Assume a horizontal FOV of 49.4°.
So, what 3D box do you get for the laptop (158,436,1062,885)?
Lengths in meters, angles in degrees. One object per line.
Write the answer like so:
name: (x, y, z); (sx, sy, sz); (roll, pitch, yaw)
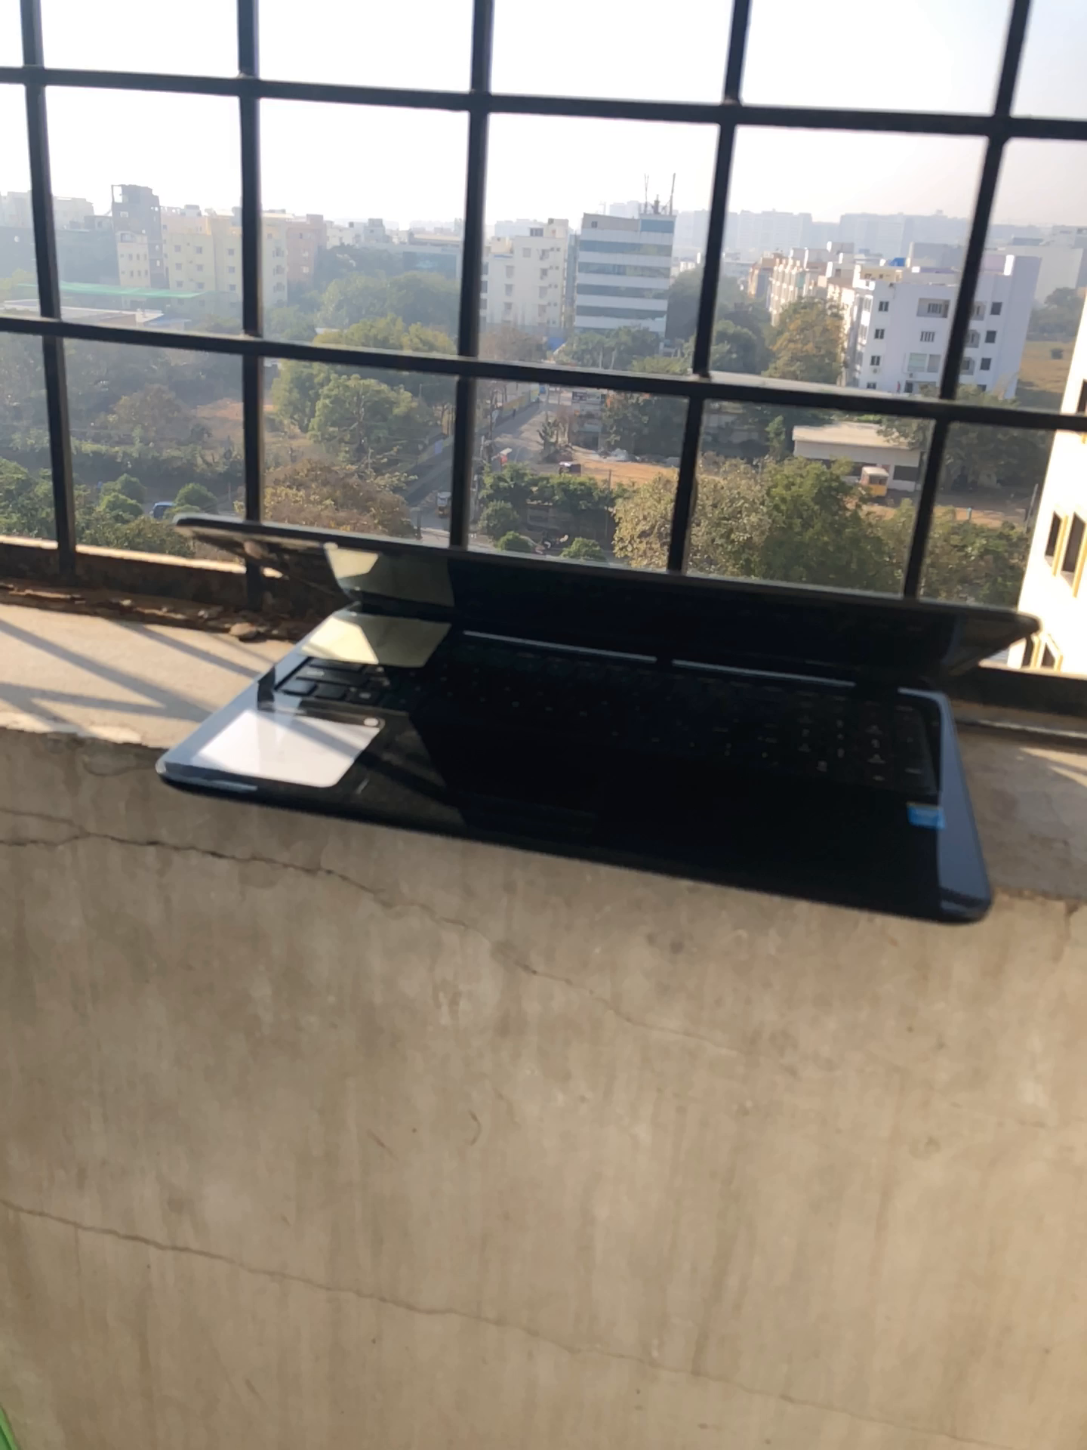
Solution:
laptop: (0.035, -0.056, 0.600); (0.363, 0.113, 0.245); (8, 22, 10)
